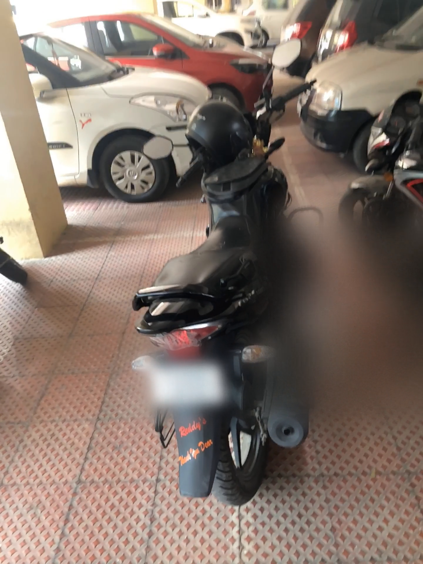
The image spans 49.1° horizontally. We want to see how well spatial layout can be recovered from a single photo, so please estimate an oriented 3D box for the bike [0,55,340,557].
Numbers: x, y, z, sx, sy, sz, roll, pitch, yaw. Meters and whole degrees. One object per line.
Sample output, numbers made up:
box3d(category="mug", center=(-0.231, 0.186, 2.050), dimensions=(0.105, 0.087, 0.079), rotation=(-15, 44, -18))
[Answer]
box3d(category="bike", center=(-0.024, -0.137, 1.939), dimensions=(0.804, 1.200, 1.691), rotation=(0, 33, 9))
